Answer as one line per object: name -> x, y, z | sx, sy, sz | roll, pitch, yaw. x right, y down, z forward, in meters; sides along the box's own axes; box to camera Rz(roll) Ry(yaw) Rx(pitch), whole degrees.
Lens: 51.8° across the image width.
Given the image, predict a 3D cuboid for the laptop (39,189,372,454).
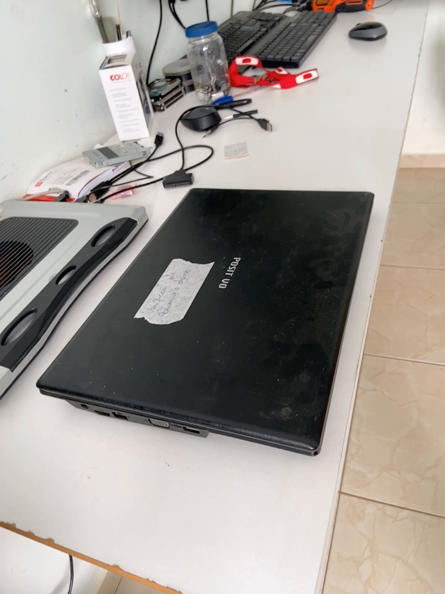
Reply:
laptop -> 0.010, -0.019, 0.457 | 0.233, 0.008, 0.330 | 7, 43, 21
